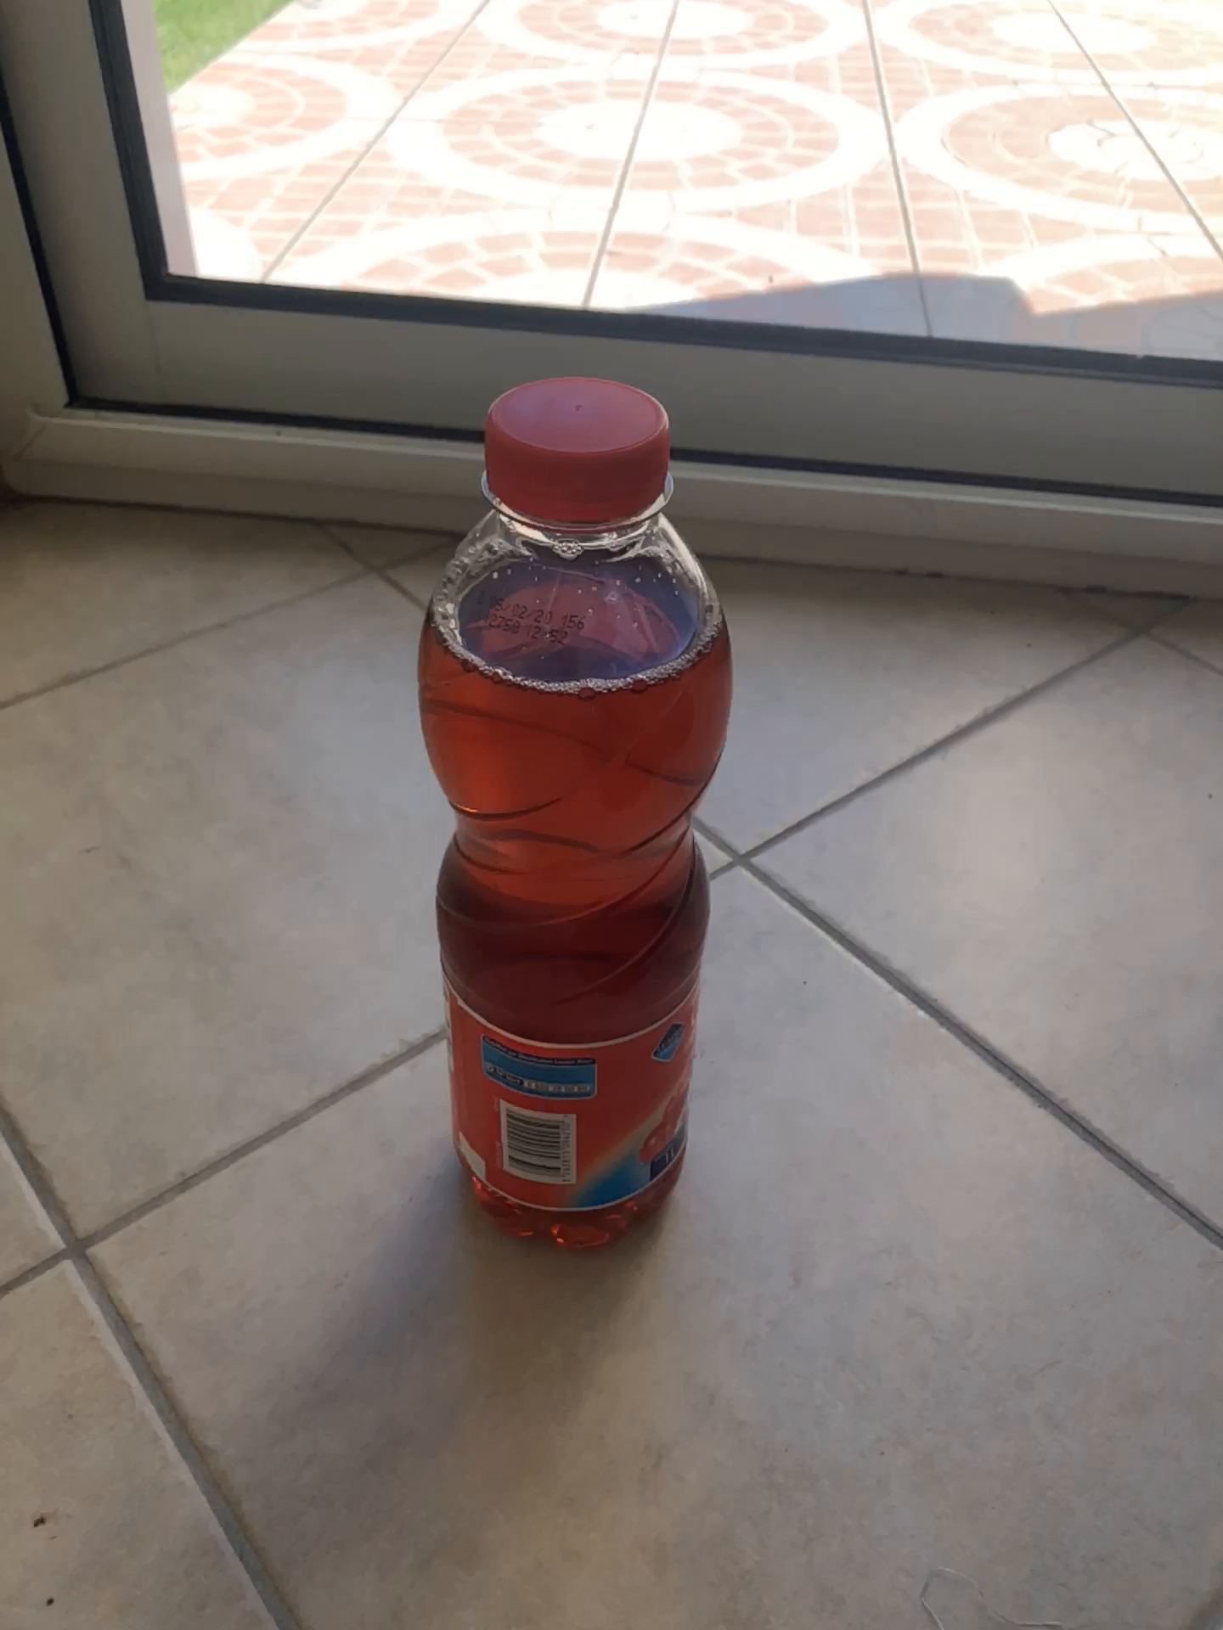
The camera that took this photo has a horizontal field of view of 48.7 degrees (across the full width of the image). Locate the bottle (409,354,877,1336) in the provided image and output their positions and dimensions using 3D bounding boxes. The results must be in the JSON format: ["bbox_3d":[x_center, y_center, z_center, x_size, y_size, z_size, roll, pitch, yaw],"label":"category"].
[{"bbox_3d":[0.000,0.026,0.349,0.080,0.258,0.091,0,41,-3],"label":"bottle"}]
